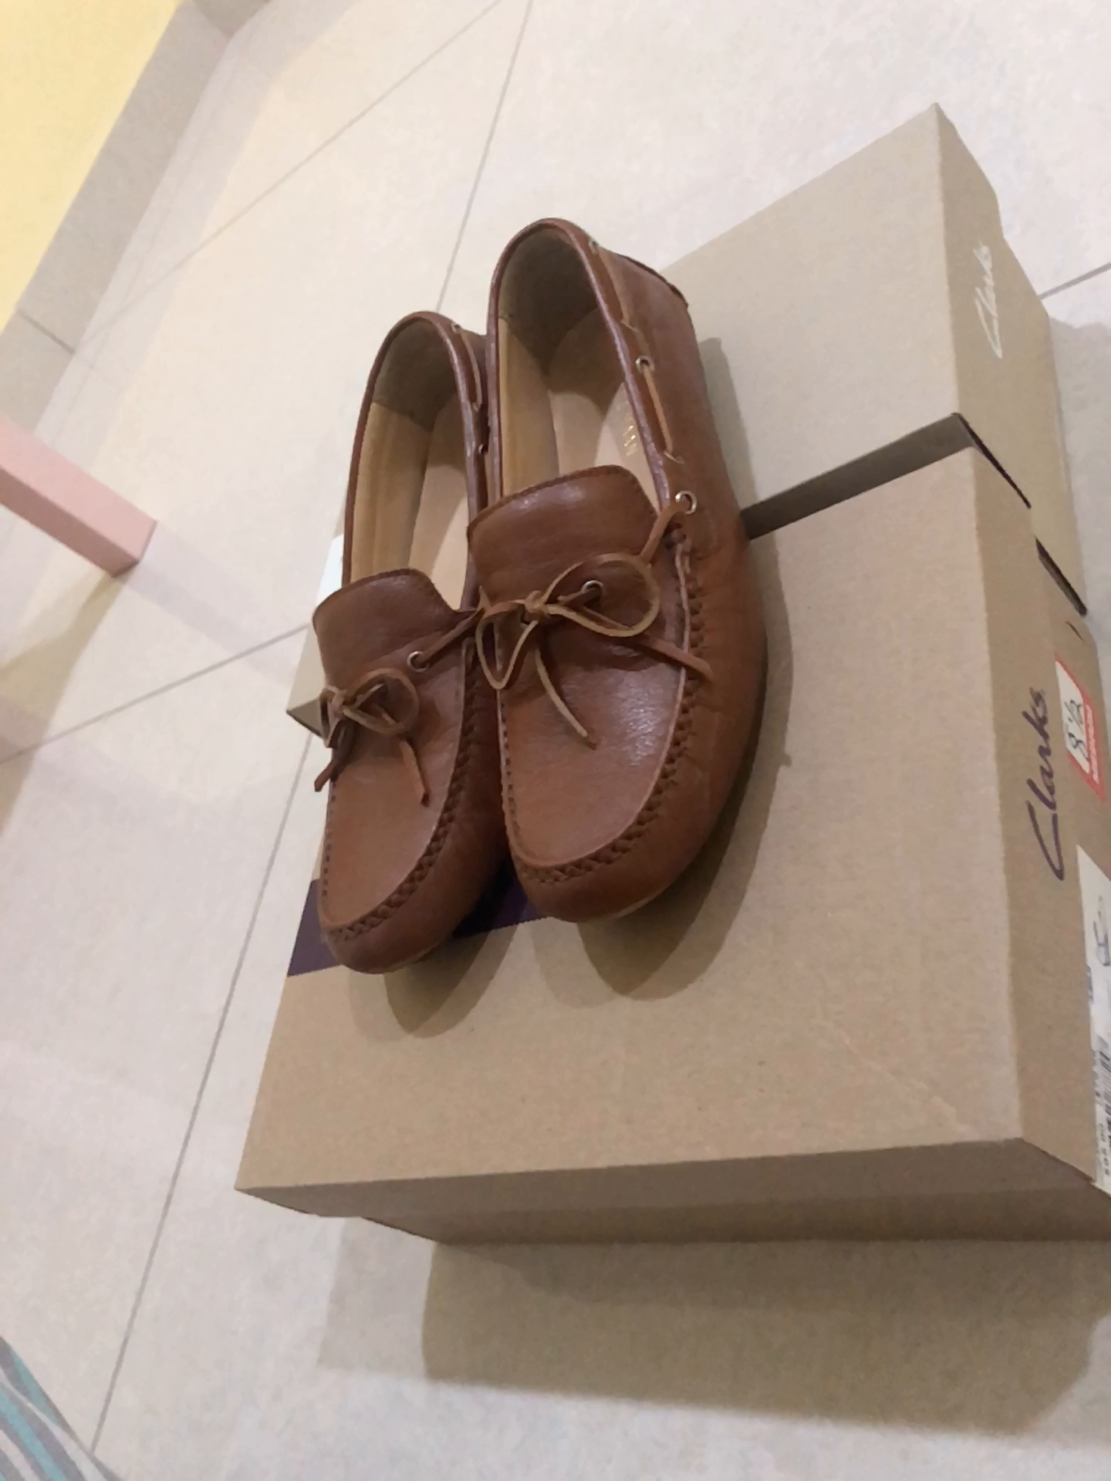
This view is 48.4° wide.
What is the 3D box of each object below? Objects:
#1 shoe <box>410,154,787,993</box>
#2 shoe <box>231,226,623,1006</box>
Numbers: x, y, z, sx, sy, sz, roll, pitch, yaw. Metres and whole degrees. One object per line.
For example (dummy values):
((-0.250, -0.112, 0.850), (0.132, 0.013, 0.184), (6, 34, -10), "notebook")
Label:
((0.016, -0.064, 0.435), (0.080, 0.079, 0.280), (-20, 55, 35), "shoe")
((-0.040, -0.050, 0.472), (0.081, 0.079, 0.280), (-16, 58, 38), "shoe")
